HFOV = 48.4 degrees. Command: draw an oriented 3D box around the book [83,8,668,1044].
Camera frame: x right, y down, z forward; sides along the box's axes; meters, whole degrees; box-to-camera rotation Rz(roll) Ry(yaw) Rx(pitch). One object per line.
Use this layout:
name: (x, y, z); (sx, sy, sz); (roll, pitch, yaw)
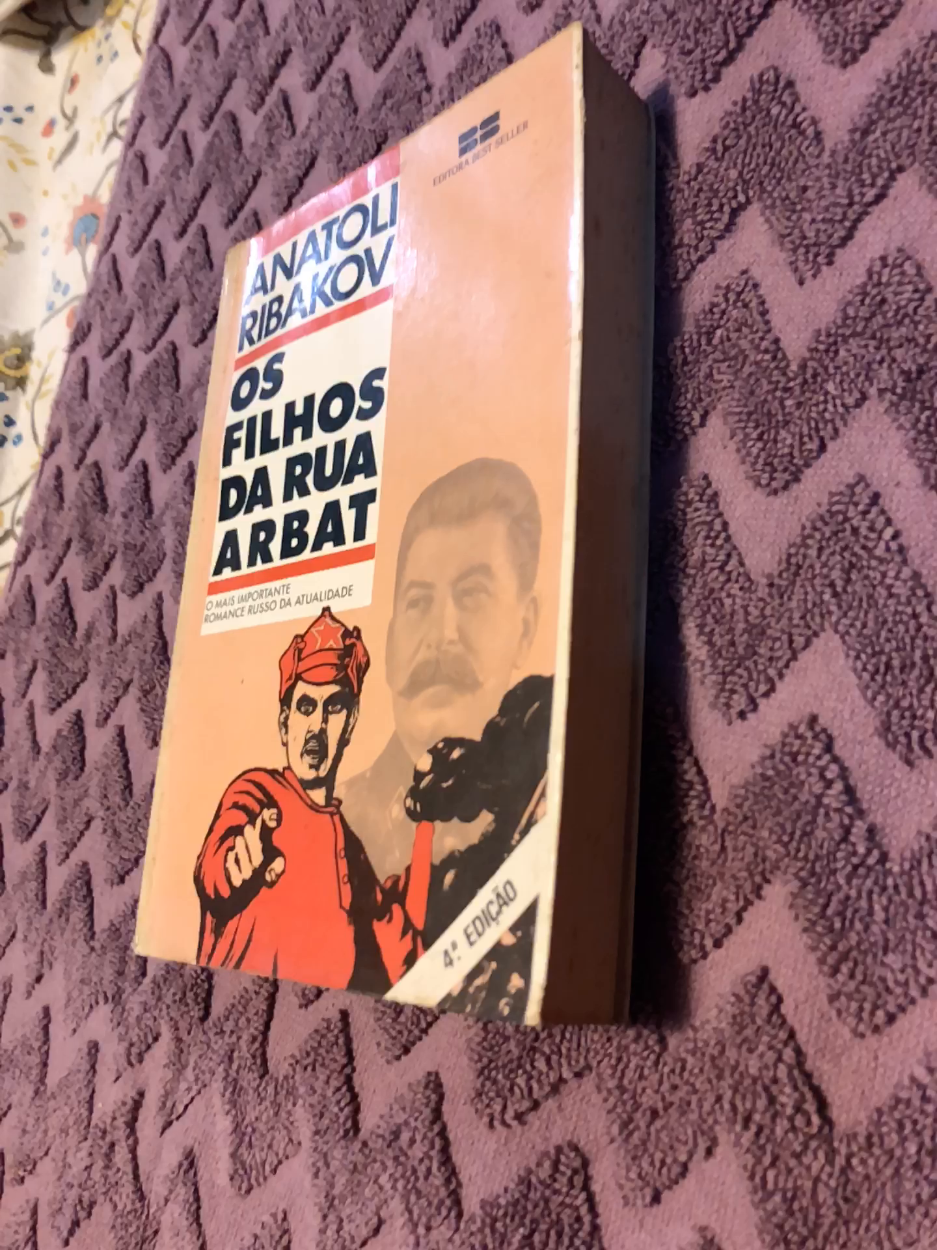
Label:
book: (-0.027, -0.015, 0.243); (0.141, 0.040, 0.190); (-10, 73, 41)
